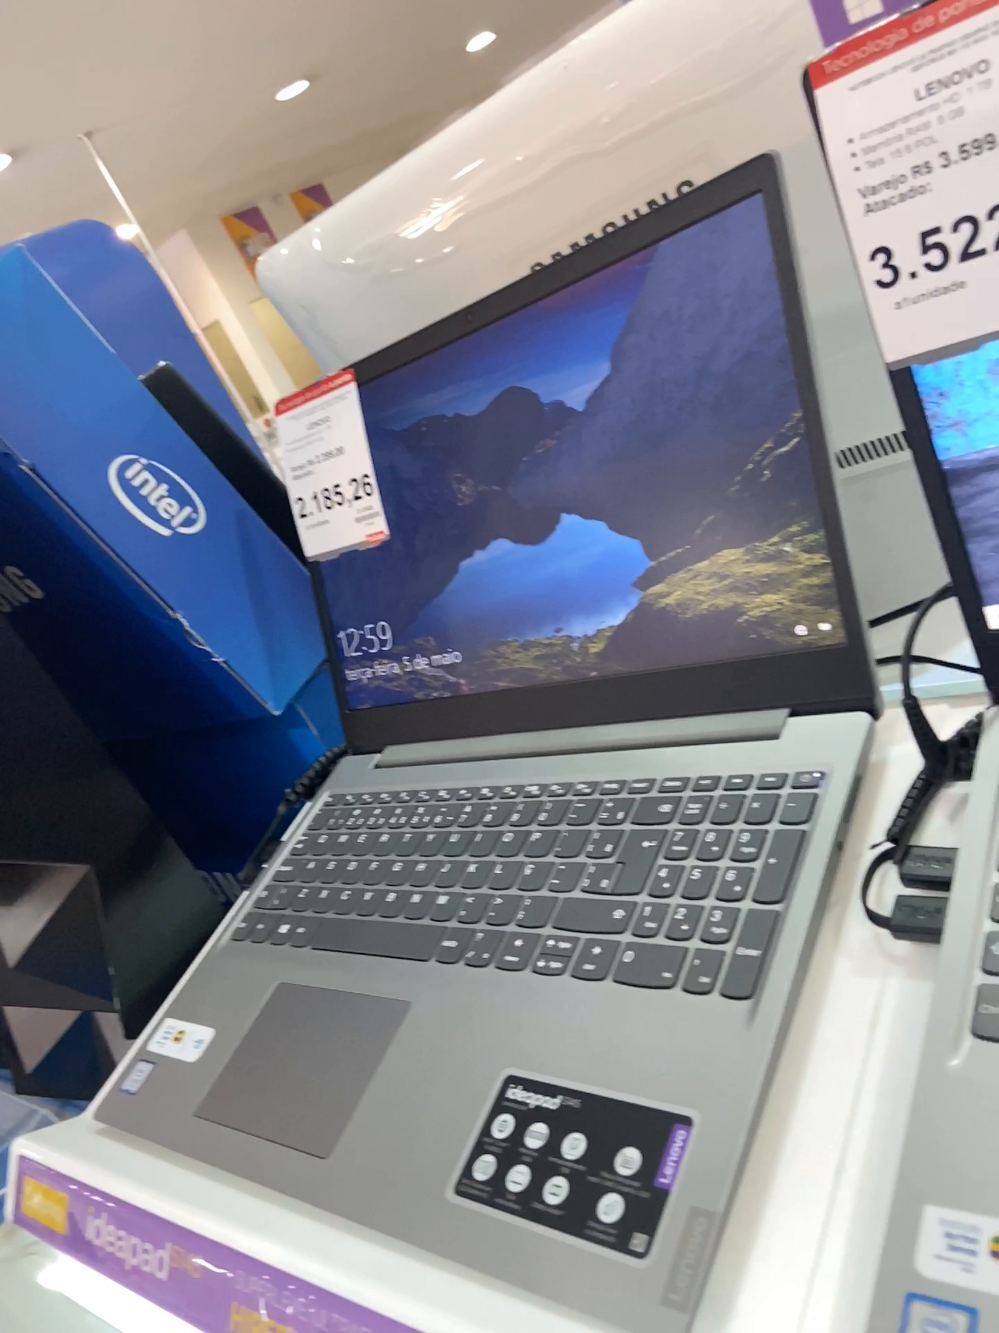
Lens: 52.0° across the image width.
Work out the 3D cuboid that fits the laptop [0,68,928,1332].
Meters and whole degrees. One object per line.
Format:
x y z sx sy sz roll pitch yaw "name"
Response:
-0.048 -0.016 0.487 0.358 0.212 0.388 -10 34 43 "laptop"
